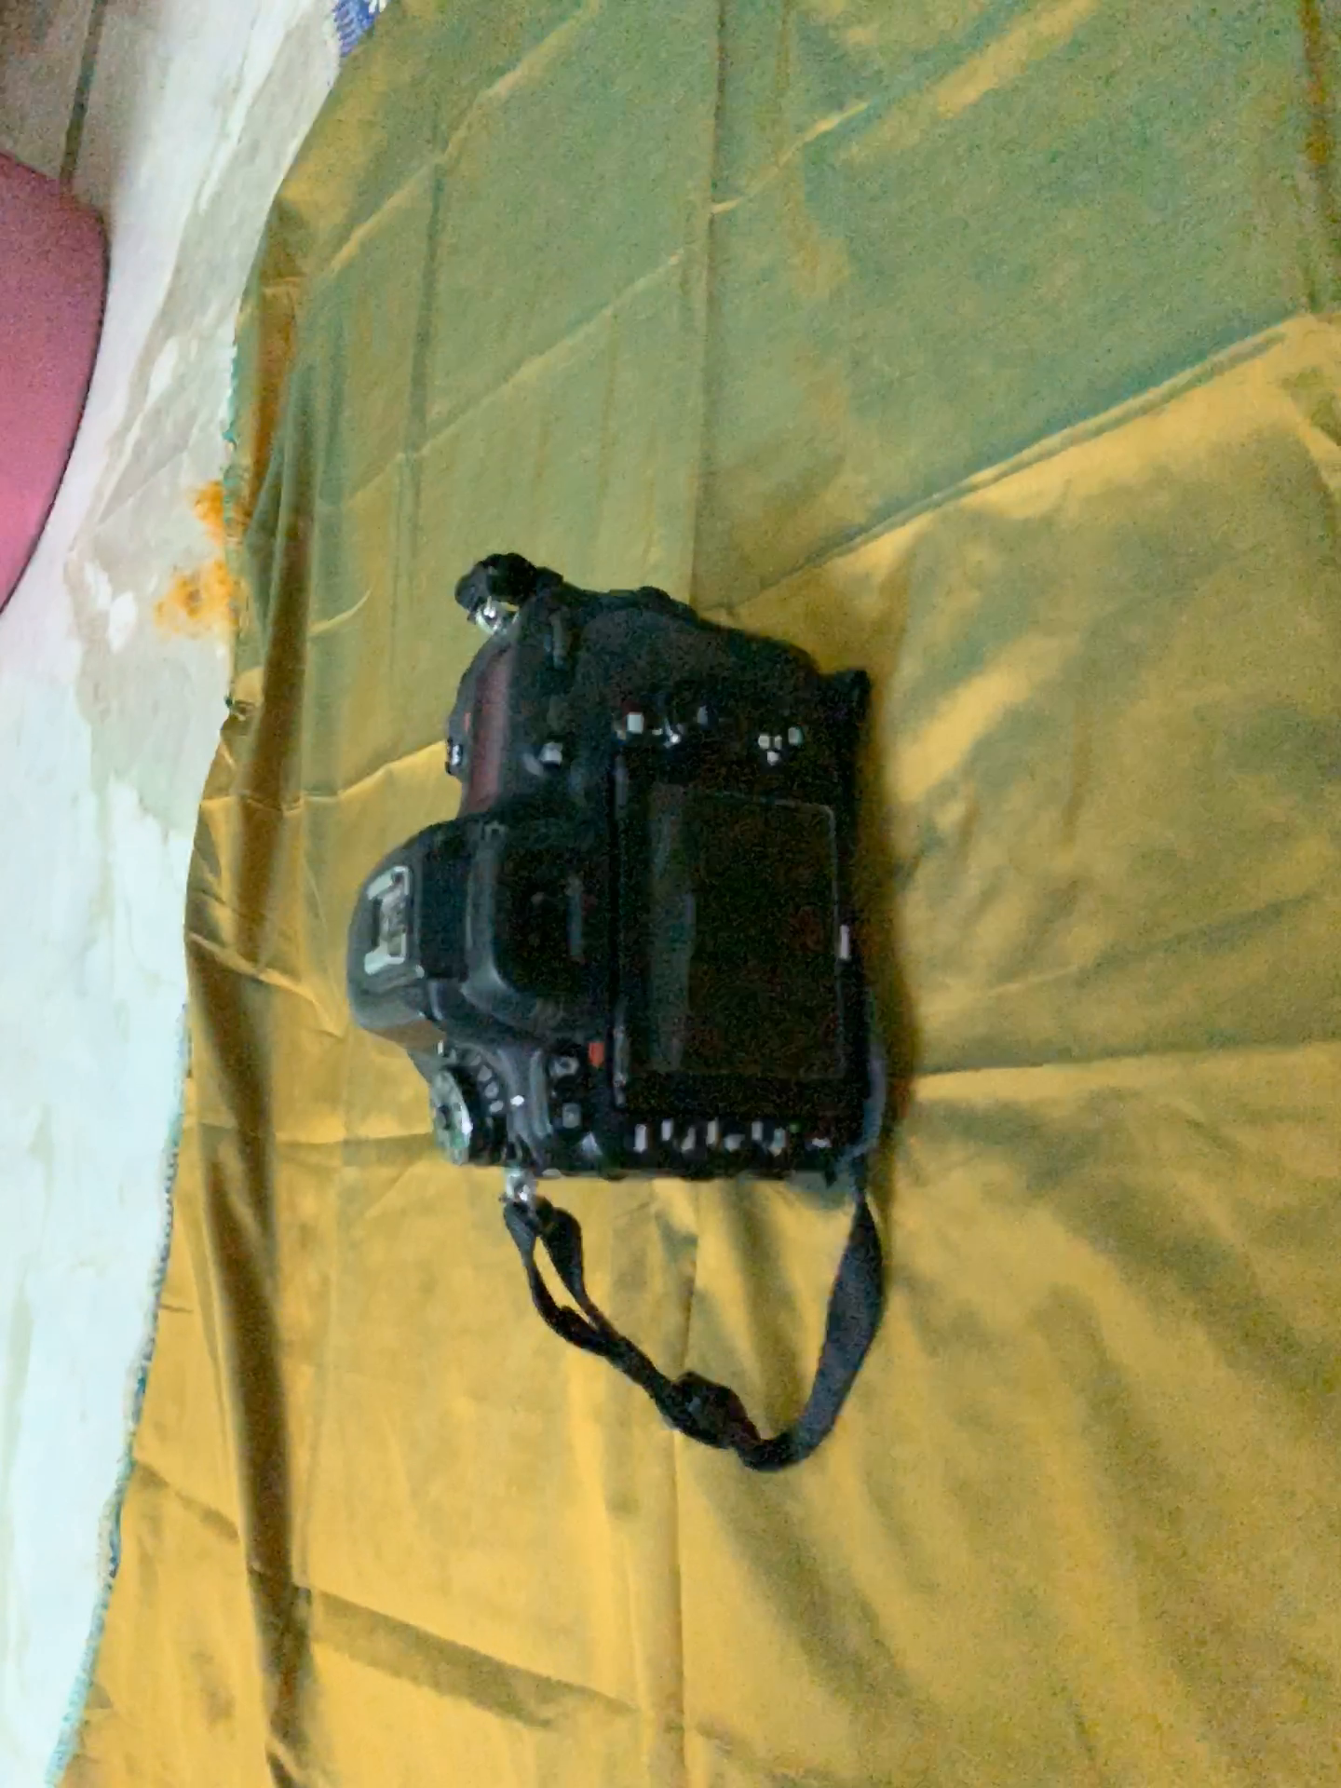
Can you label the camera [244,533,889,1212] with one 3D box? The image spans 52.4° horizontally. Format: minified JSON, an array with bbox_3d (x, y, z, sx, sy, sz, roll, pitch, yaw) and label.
[{"bbox_3d":[-0.031,0.011,0.355,0.132,0.119,0.135,154,122,-61],"label":"camera"}]
